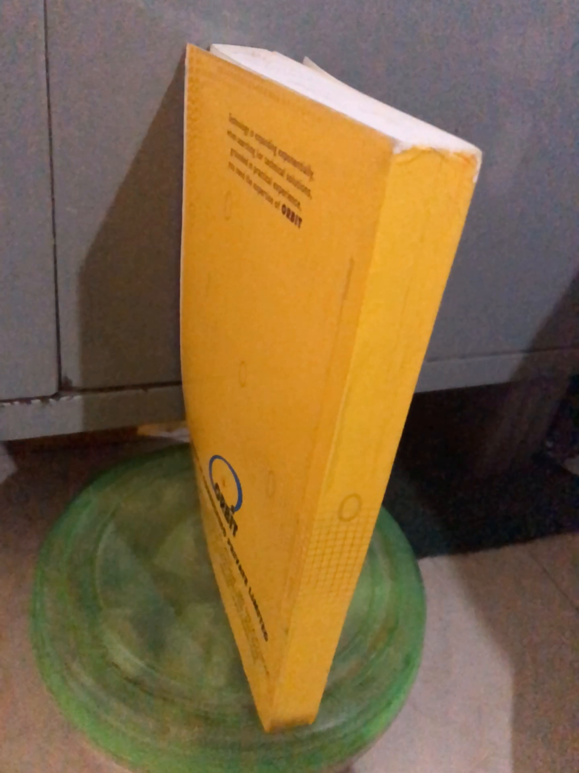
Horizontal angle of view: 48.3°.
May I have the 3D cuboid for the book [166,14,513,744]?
[{"bbox_3d":[-0.016,-0.012,0.321,0.040,0.279,0.221,-3,34,-20],"label":"book"}]
